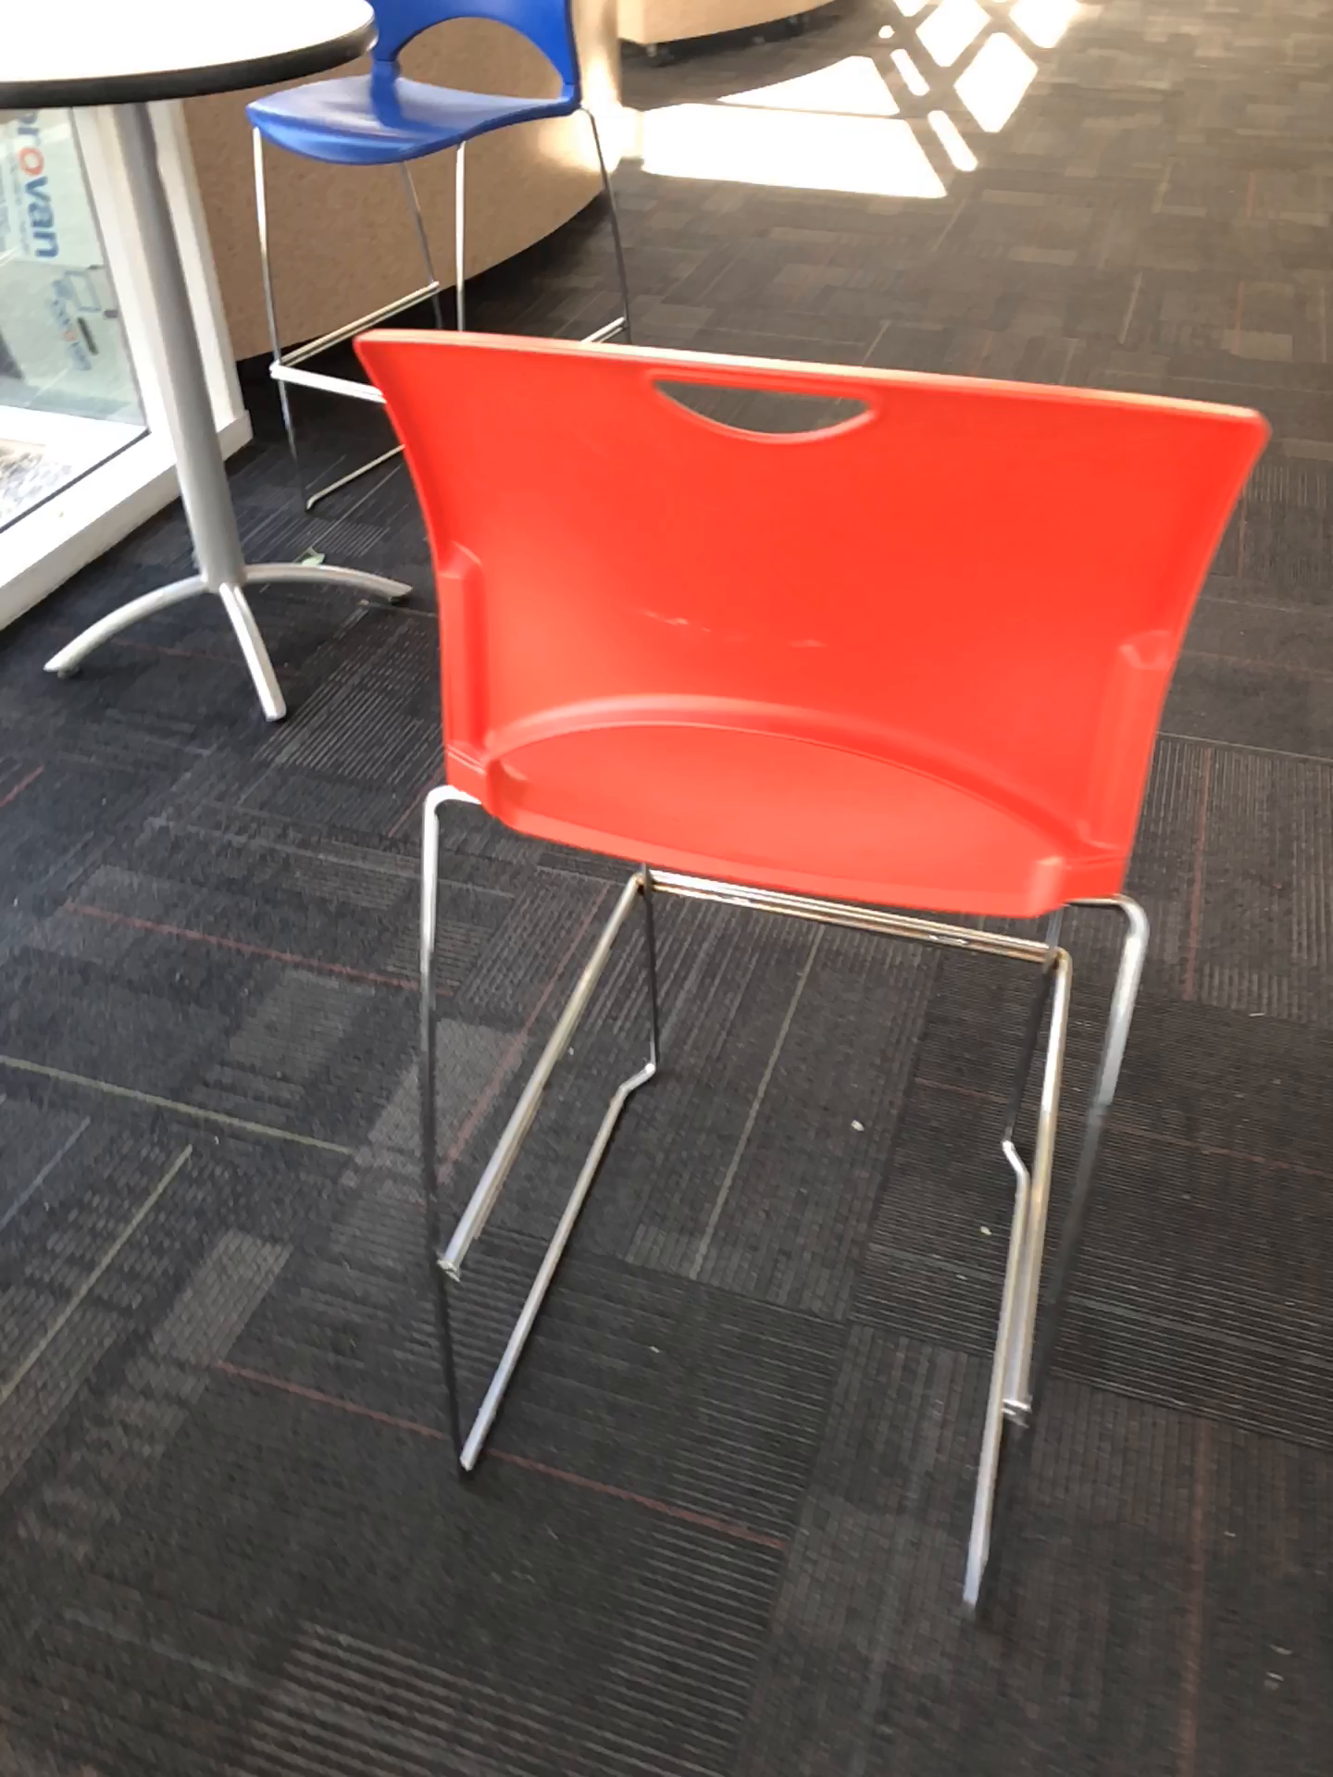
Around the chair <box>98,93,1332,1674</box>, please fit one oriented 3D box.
[{"bbox_3d":[0.111,-0.002,1.177,0.590,0.995,0.663,8,40,11],"label":"chair"}]
